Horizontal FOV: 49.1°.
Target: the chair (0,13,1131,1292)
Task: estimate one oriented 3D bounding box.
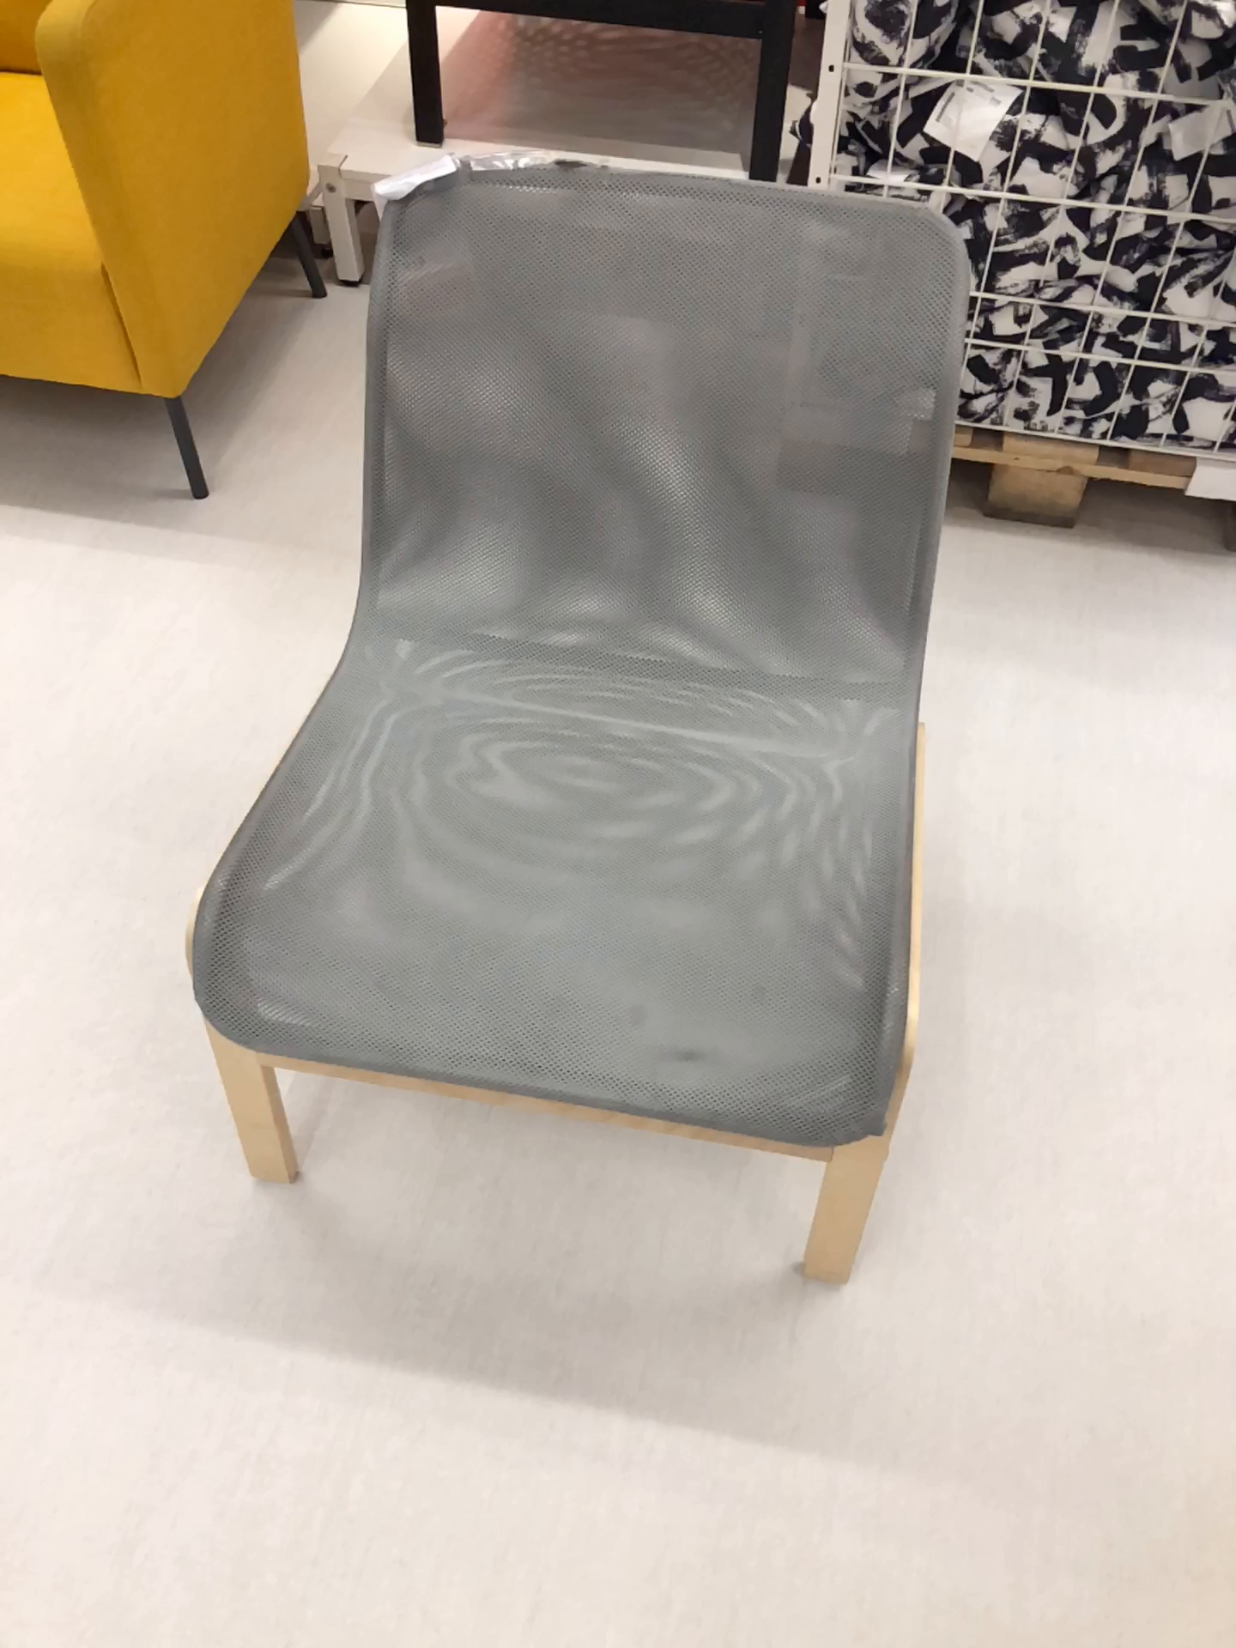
[{"bbox_3d":[-0.012,-0.106,1.187,0.630,0.825,0.644,8,52,6],"label":"chair"}]
